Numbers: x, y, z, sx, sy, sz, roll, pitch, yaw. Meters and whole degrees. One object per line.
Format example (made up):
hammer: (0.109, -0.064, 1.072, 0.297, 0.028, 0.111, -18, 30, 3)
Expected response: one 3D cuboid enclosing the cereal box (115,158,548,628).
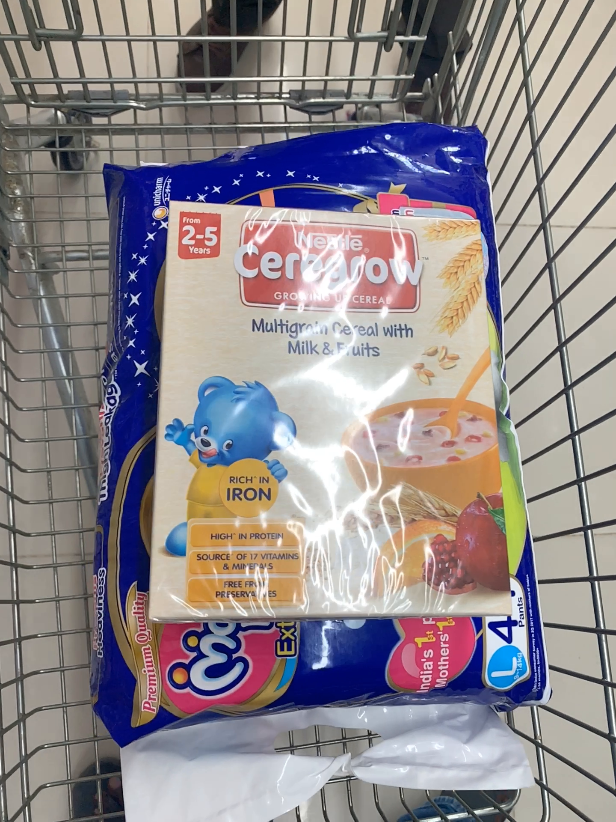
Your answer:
cereal box: (0.008, -0.008, 0.279, 0.160, 0.050, 0.190, 1, 75, -7)
